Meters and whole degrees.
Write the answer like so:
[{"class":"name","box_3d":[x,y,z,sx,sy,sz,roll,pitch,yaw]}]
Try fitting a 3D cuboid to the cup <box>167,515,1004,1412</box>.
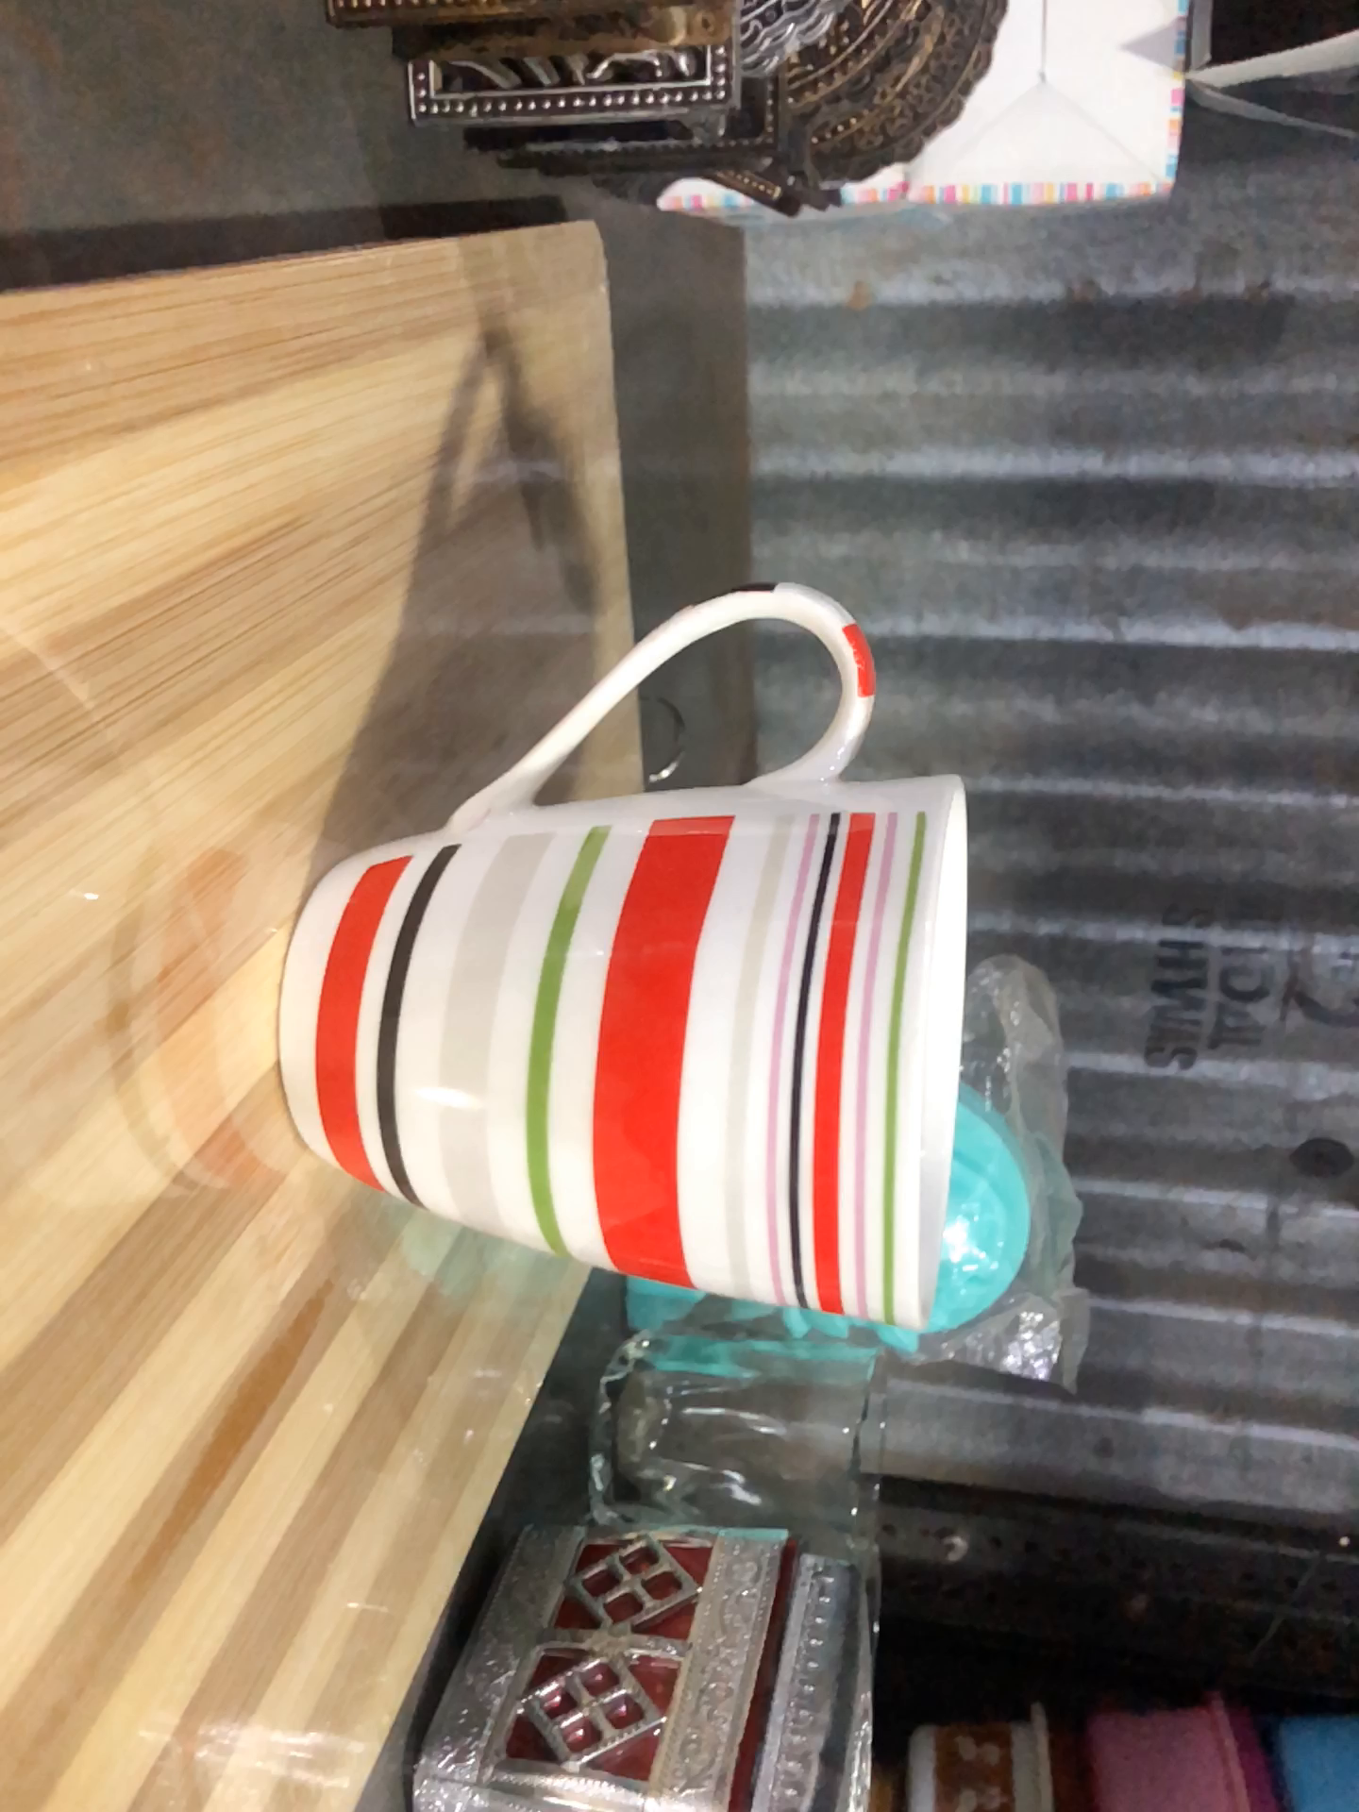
[{"class":"cup","box_3d":[-0.004,0.004,0.239,0.080,0.100,0.110,-67,157,-59]}]
